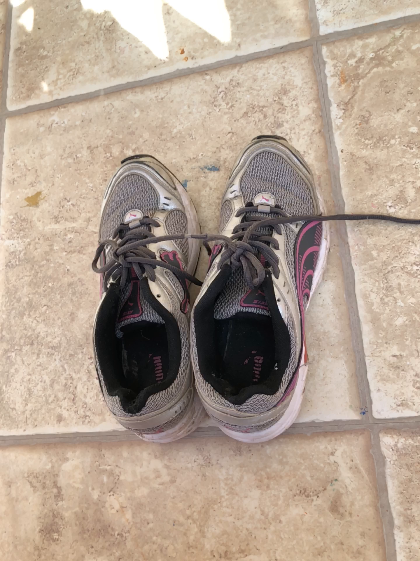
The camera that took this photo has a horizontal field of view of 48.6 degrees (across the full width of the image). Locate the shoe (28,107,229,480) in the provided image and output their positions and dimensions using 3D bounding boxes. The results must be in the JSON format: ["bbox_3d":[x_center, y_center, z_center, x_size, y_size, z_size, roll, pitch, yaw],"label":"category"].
[{"bbox_3d":[-0.069,0.016,0.415,0.110,0.140,0.271,-11,74,13],"label":"shoe"}]

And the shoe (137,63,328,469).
[{"bbox_3d":[0.035,-0.007,0.381,0.110,0.140,0.270,1,77,16],"label":"shoe"}]
